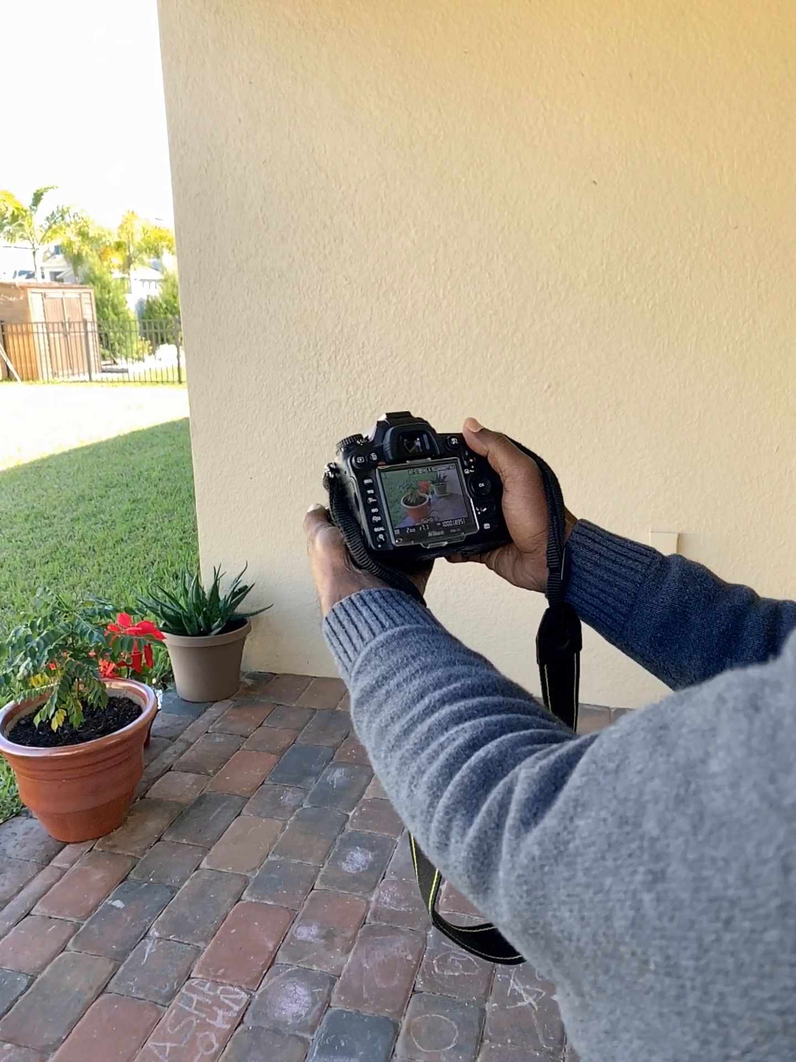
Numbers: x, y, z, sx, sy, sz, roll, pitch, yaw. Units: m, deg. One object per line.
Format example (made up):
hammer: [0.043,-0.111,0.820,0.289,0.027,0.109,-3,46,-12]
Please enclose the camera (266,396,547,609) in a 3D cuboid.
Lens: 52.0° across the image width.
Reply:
camera: [-0.005,-0.016,0.641,0.130,0.101,0.199,-9,-11,-27]
